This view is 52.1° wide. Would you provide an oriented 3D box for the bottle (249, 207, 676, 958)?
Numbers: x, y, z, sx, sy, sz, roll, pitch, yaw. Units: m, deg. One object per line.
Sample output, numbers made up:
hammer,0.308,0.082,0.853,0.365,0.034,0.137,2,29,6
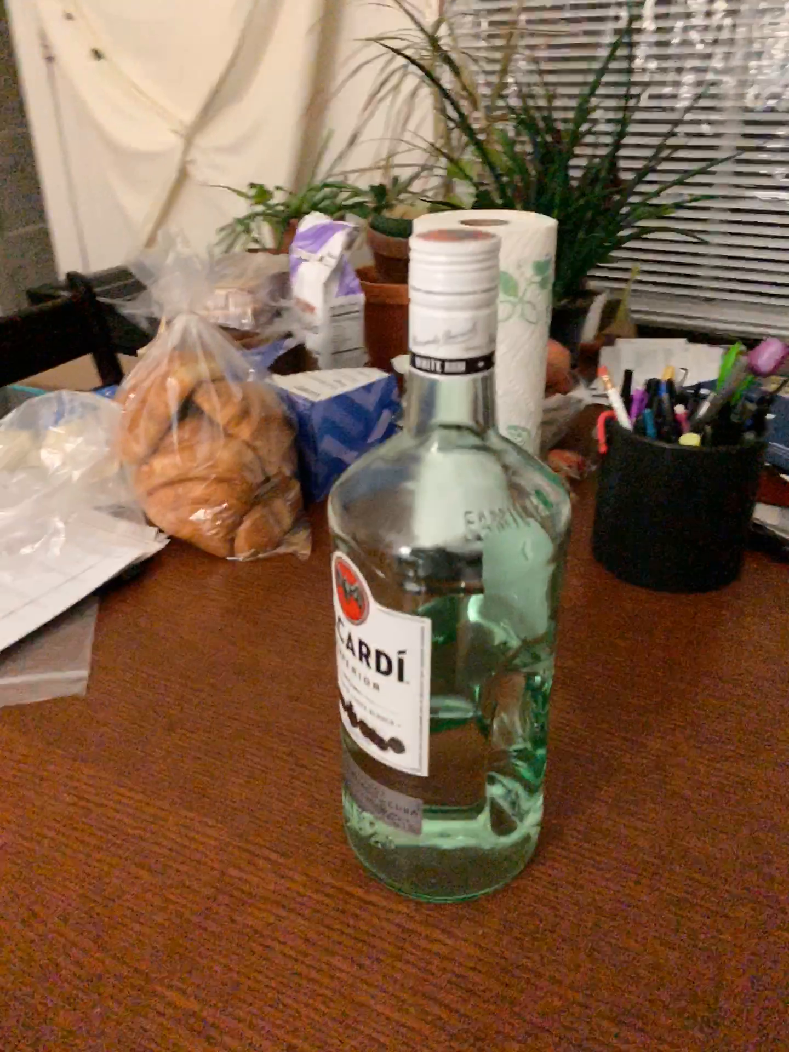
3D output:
bottle,0.024,0.030,0.395,0.120,0.328,0.121,-1,28,0
